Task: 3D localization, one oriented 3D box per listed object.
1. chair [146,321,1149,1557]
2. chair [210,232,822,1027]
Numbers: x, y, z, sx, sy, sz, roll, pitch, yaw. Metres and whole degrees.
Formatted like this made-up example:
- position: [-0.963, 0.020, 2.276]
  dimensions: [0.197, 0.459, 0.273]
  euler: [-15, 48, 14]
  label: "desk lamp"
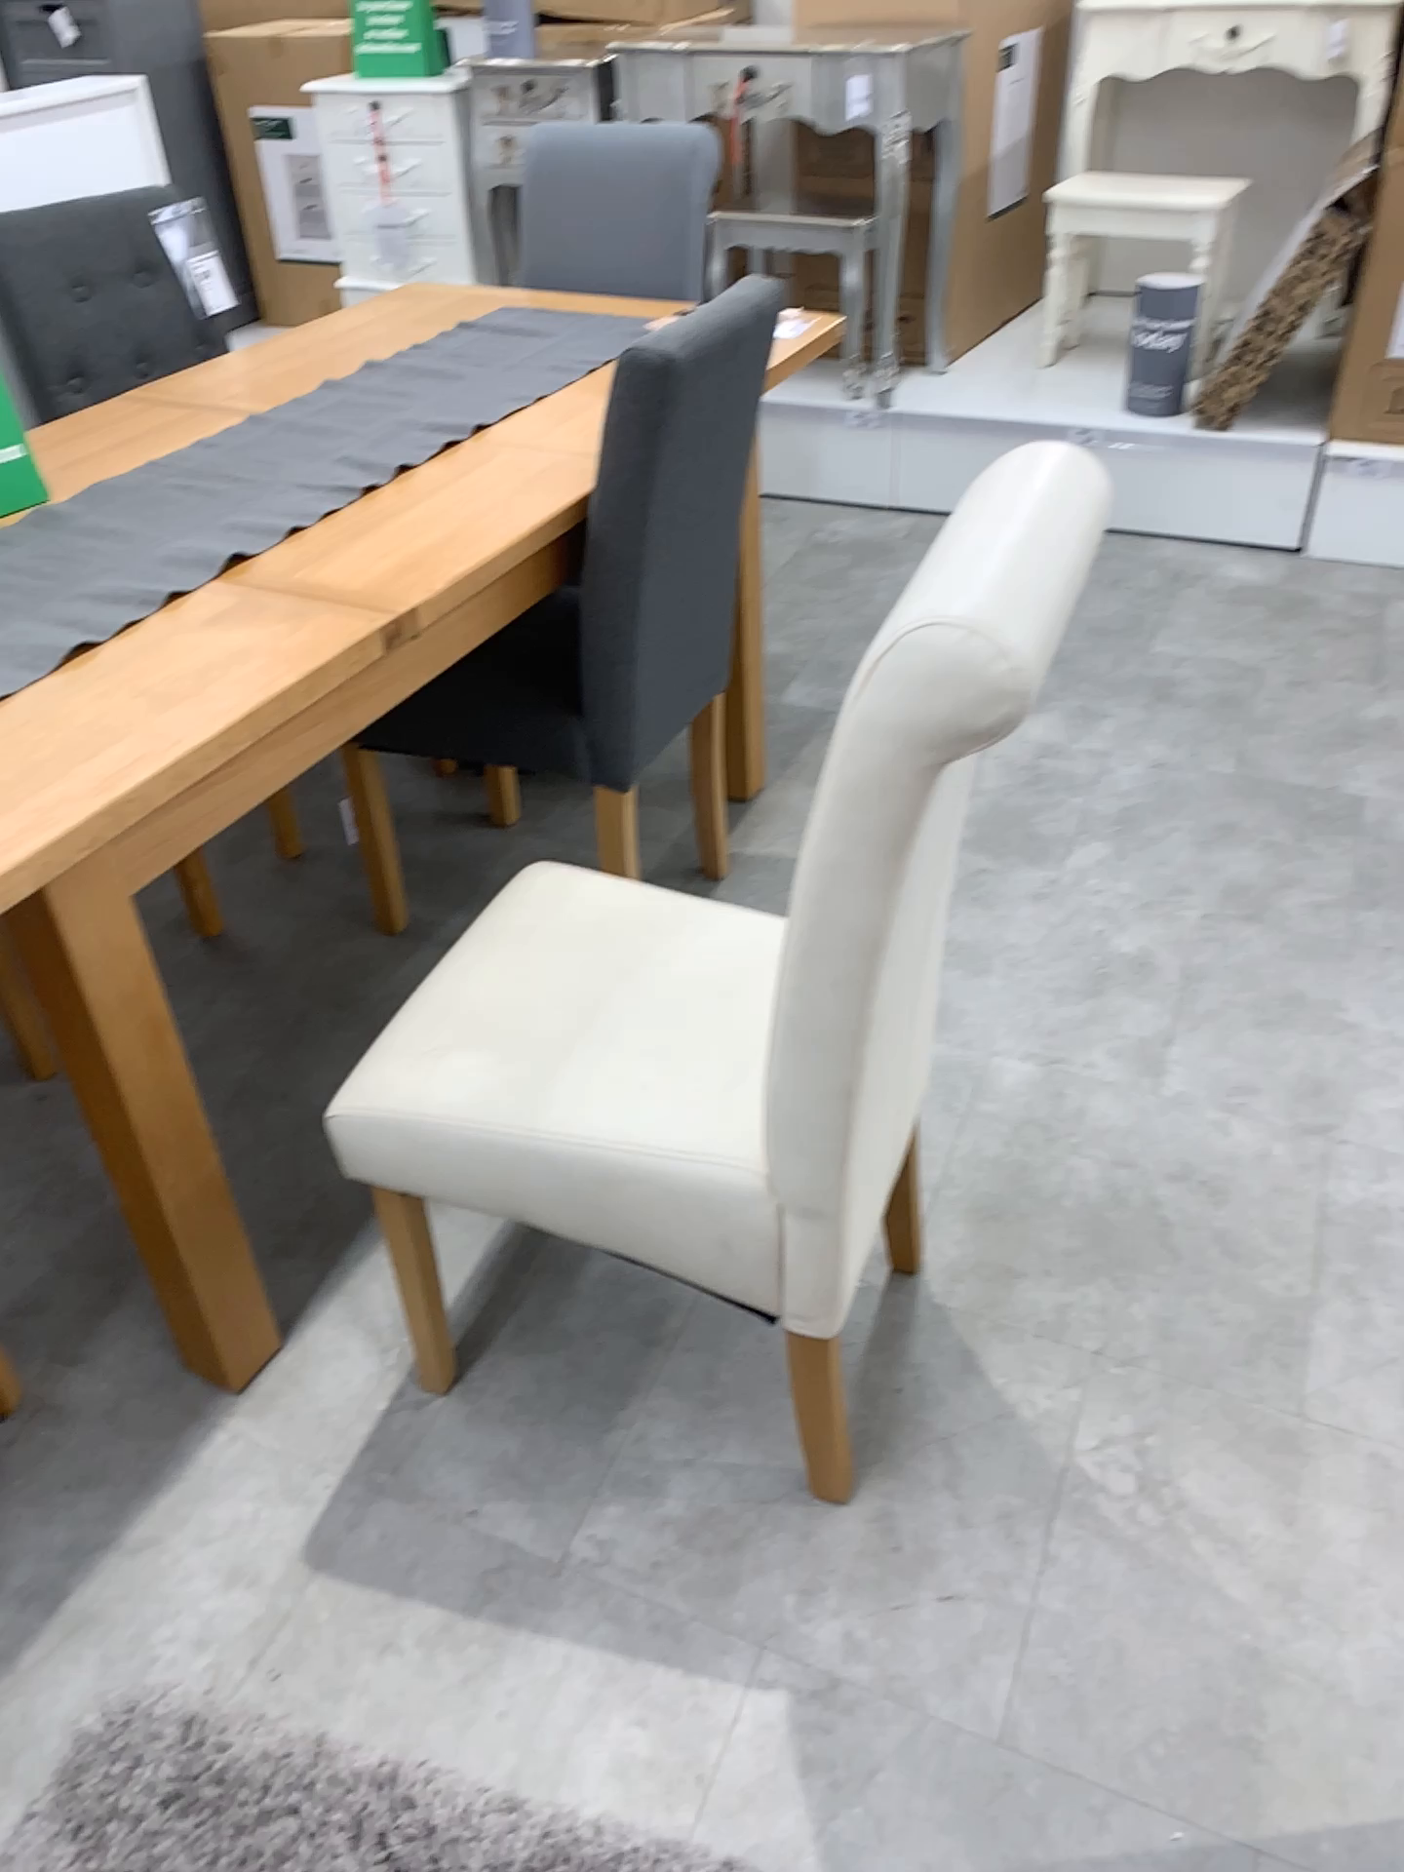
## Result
- position: [0.017, 0.000, 1.326]
  dimensions: [0.592, 0.935, 0.517]
  euler: [11, 39, 18]
  label: "chair"
- position: [-0.191, -0.434, 2.002]
  dimensions: [0.582, 0.905, 0.487]
  euler: [13, 39, 21]
  label: "chair"
